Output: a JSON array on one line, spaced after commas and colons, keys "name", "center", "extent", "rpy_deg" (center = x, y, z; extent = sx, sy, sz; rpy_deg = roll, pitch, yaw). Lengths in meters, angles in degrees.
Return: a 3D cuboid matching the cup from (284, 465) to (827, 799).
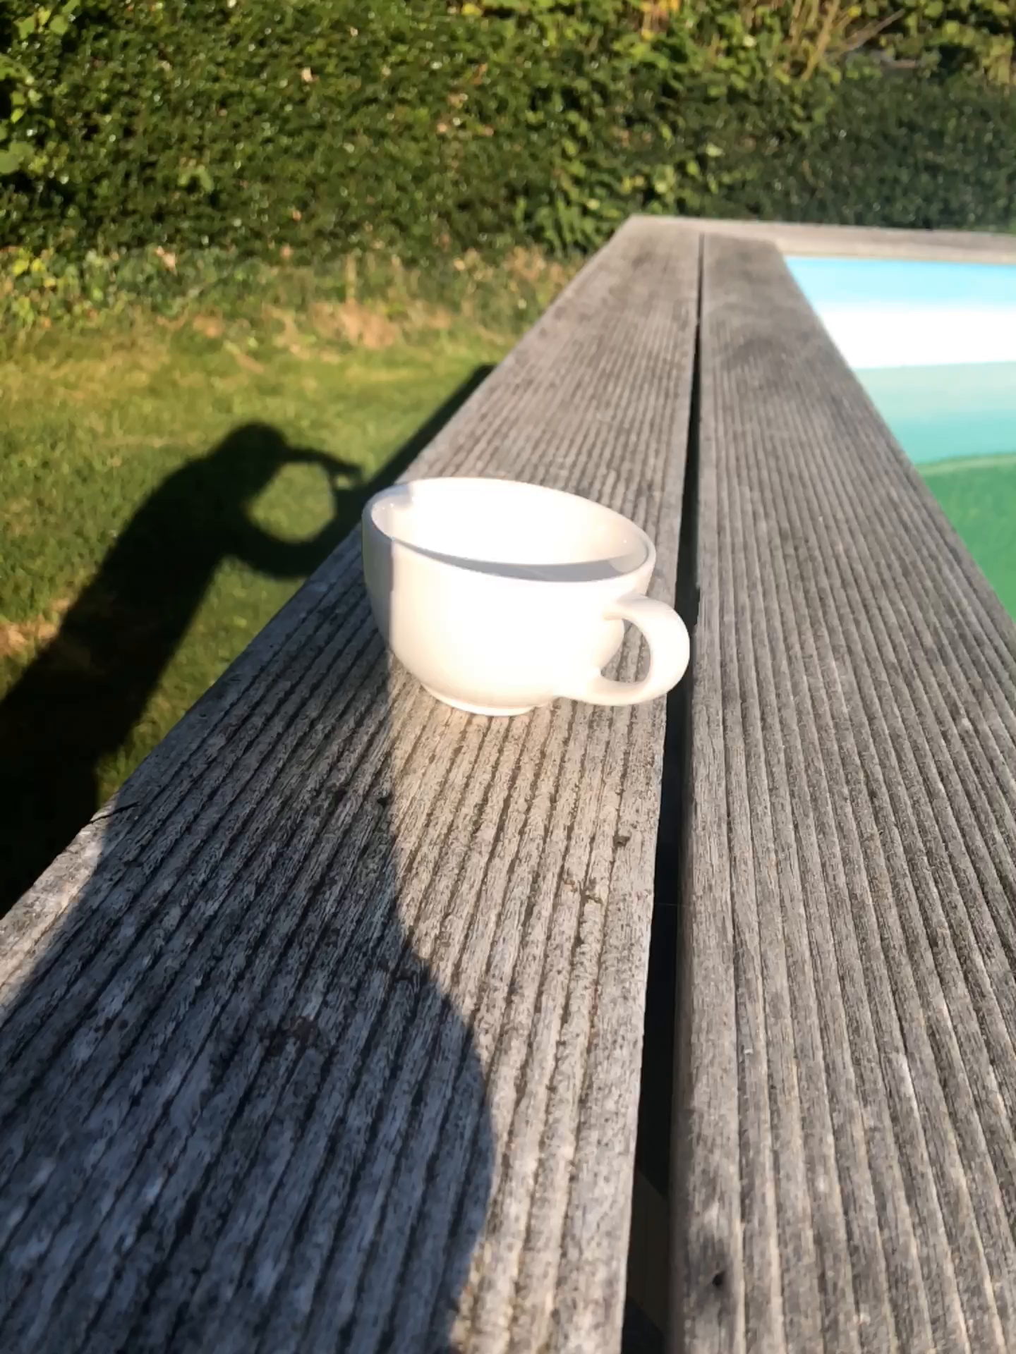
[{"name": "cup", "center": [0.012, -0.023, 0.336], "extent": [0.120, 0.038, 0.105], "rpy_deg": [26, 32, 36]}]
